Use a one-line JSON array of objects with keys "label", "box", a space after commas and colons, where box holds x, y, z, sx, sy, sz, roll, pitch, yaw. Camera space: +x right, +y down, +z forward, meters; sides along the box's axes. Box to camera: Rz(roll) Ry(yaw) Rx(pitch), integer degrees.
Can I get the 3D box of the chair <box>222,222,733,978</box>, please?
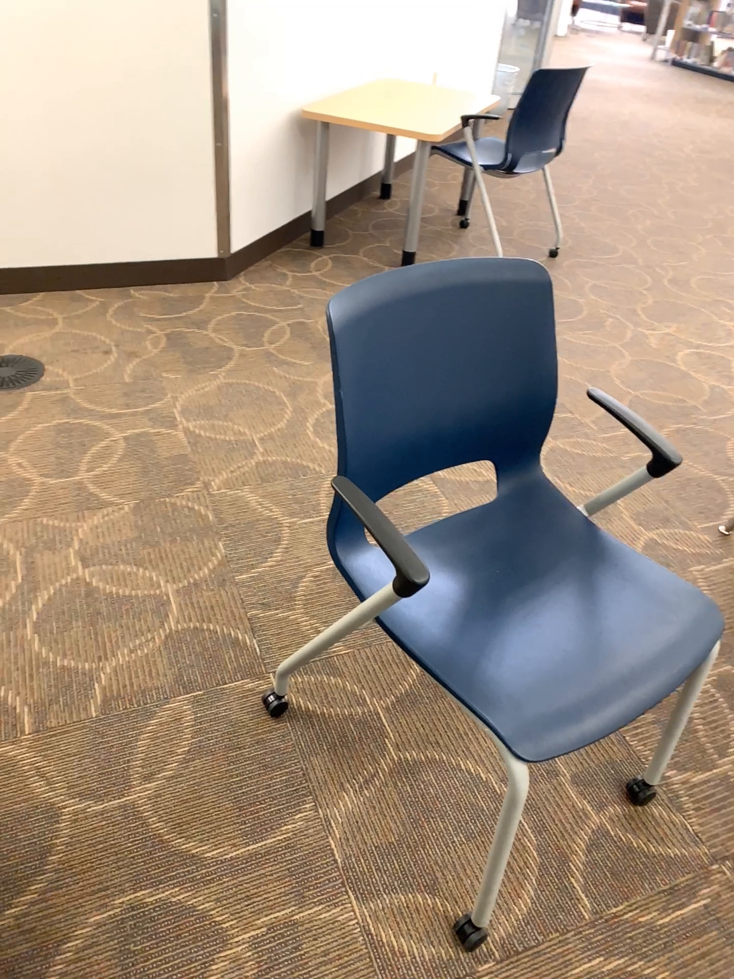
[{"label": "chair", "box": [0.231, 0.108, 1.027, 0.621, 0.687, 0.612, -20, 44, -31]}]
